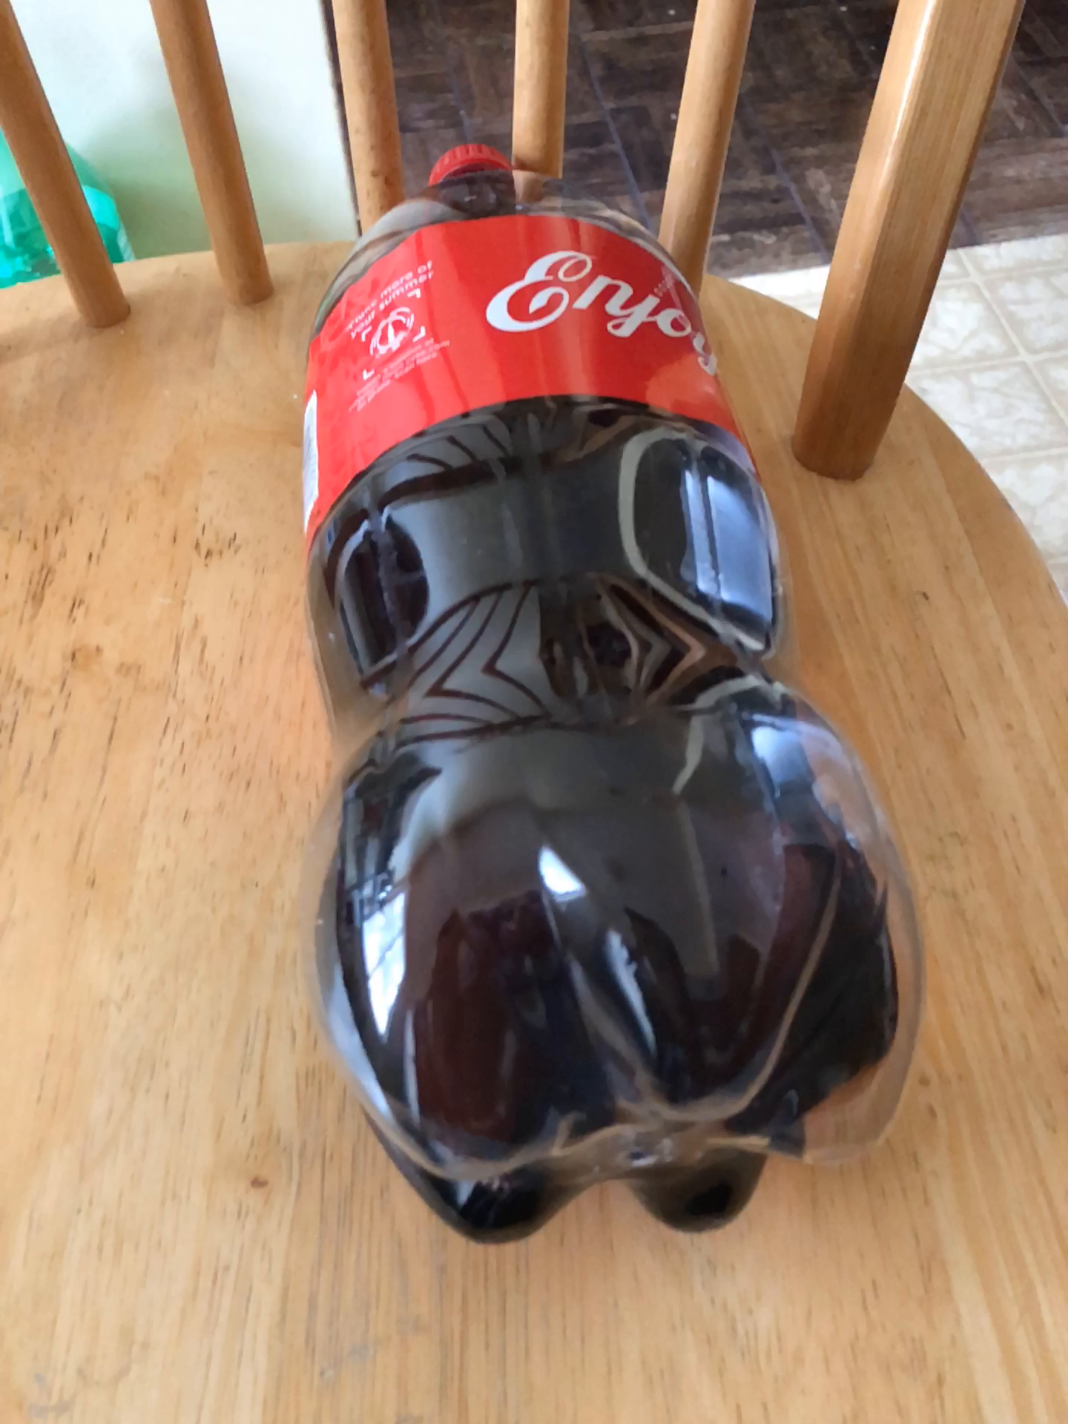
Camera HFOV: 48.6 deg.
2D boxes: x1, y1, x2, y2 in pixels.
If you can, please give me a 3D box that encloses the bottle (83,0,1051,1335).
[{"bbox_3d":[-0.006,-0.045,0.275,0.100,0.120,0.320,-28,51,26],"label":"bottle"}]
